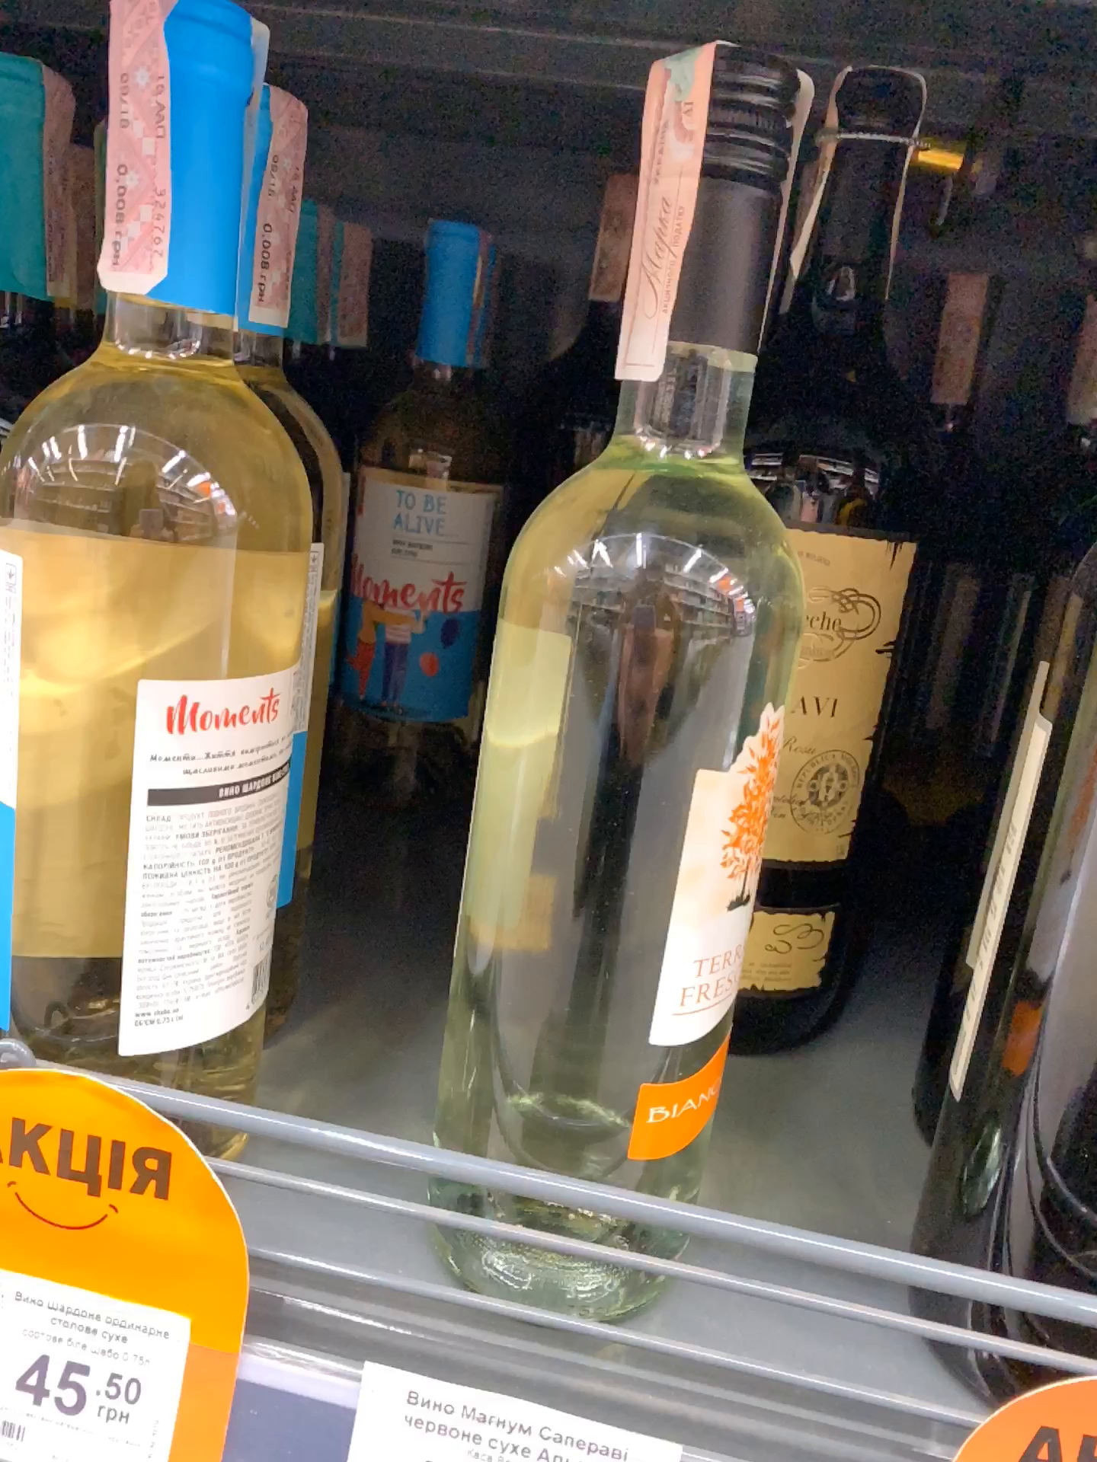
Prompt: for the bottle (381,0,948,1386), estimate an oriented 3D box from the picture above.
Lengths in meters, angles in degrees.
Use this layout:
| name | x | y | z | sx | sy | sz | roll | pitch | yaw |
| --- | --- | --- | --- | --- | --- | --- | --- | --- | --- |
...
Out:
| name | x | y | z | sx | sy | sz | roll | pitch | yaw |
| --- | --- | --- | --- | --- | --- | --- | --- | --- | --- |
| bottle | 0.022 | 0.000 | 0.274 | 0.070 | 0.294 | 0.070 | 7 | 16 | -2 |
